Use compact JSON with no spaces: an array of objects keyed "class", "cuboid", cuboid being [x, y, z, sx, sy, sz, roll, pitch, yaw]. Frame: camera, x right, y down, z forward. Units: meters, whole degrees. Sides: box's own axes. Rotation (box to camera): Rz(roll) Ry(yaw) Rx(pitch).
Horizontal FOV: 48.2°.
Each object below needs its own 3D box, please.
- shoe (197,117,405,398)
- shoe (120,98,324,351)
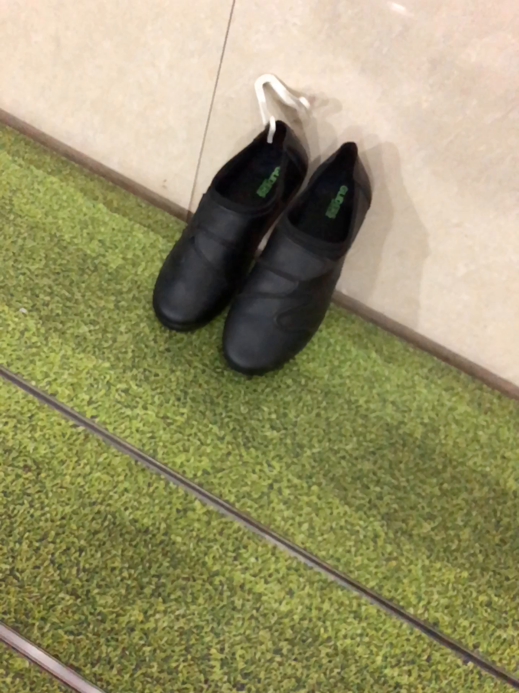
[{"class":"shoe","cuboid":[0.042,-0.080,0.588,0.087,0.248,0.107,28,176,7]},{"class":"shoe","cuboid":[-0.033,-0.116,0.566,0.074,0.229,0.067,33,171,4]}]
